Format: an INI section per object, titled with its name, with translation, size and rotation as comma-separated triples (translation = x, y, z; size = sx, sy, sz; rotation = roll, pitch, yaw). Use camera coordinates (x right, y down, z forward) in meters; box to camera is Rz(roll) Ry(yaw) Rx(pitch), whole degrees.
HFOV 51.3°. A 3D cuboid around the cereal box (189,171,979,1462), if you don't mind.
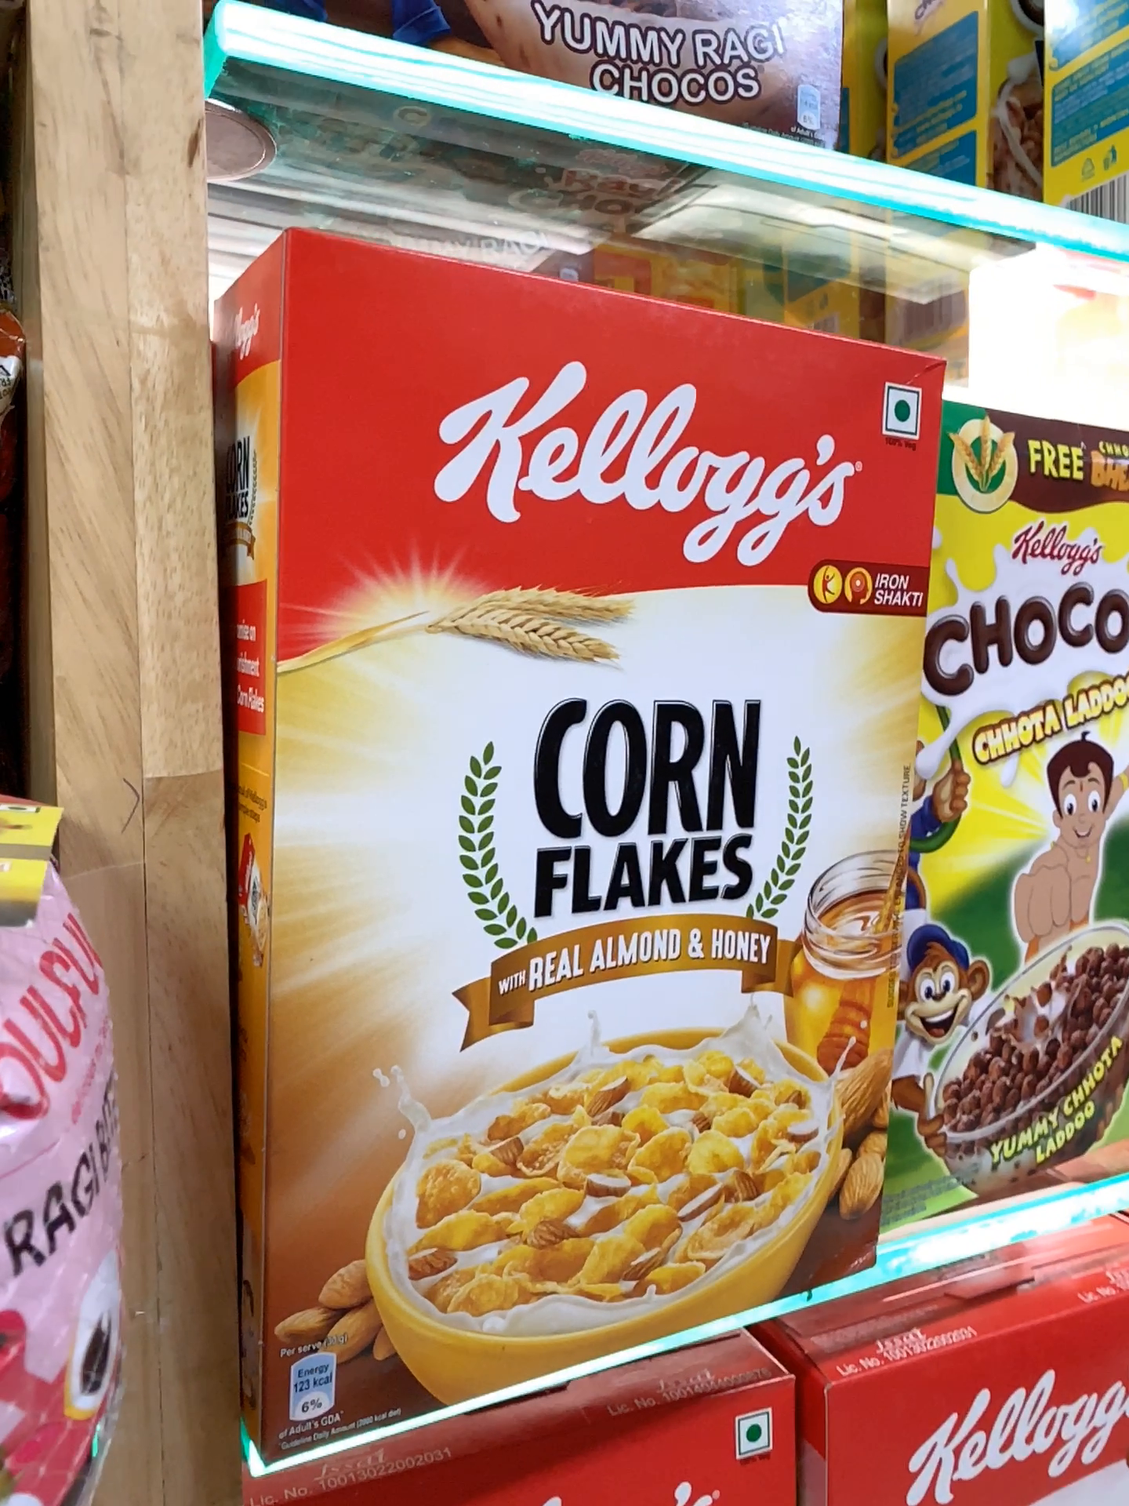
[cereal box]
translation = 0.004, 0.012, 0.287
size = 0.170, 0.239, 0.070
rotation = -1, 7, -29
